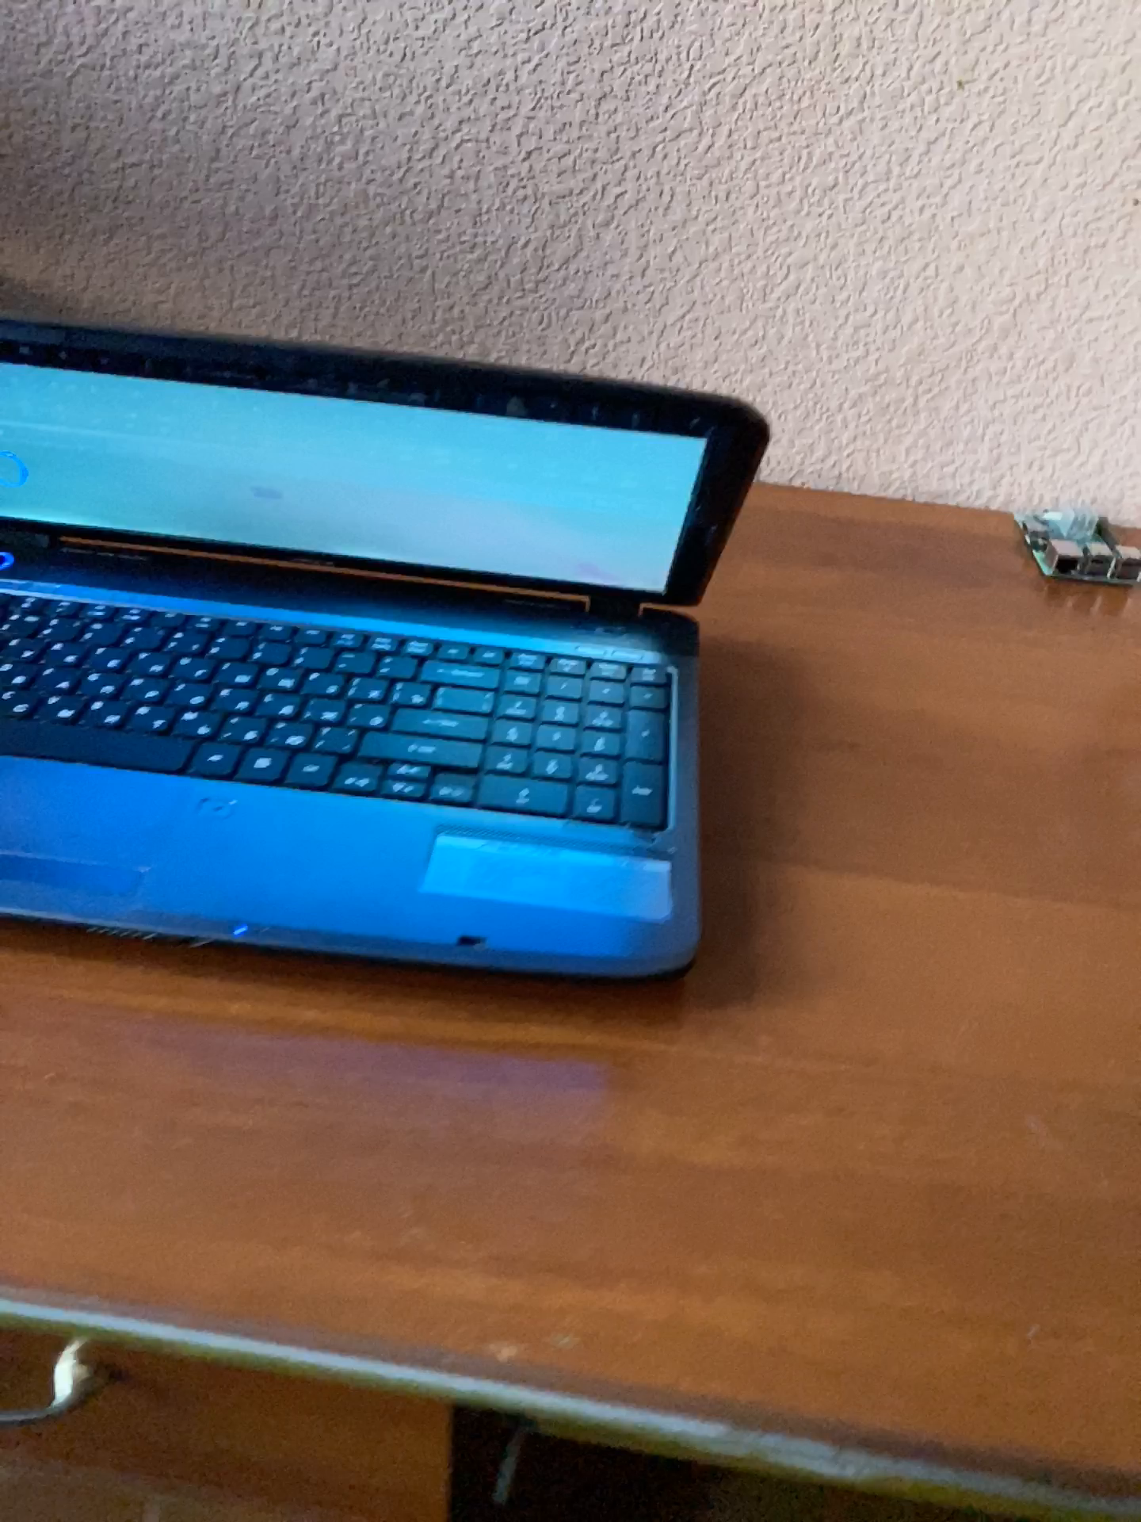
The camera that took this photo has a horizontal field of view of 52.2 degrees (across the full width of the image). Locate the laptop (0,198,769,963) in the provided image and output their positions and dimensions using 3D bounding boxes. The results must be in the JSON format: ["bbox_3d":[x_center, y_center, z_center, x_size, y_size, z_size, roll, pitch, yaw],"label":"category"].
[{"bbox_3d":[-0.133,-0.088,0.453,0.380,0.163,0.241,6,37,2],"label":"laptop"}]
